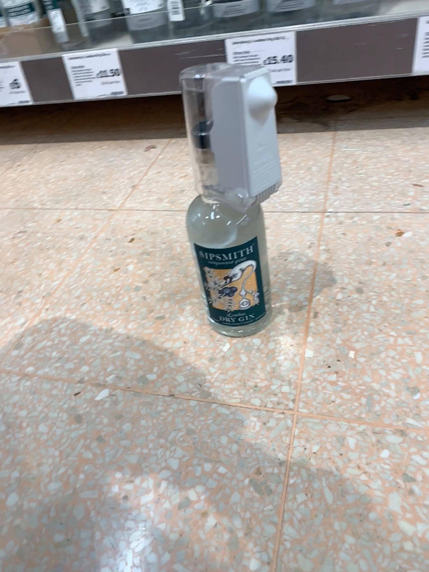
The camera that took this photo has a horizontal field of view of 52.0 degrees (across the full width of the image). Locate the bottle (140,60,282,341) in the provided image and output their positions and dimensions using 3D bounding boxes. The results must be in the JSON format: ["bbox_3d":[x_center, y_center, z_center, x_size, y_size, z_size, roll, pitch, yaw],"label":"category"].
[{"bbox_3d":[0.011,-0.056,0.369,0.074,0.222,0.069,-7,40,6],"label":"bottle"}]
